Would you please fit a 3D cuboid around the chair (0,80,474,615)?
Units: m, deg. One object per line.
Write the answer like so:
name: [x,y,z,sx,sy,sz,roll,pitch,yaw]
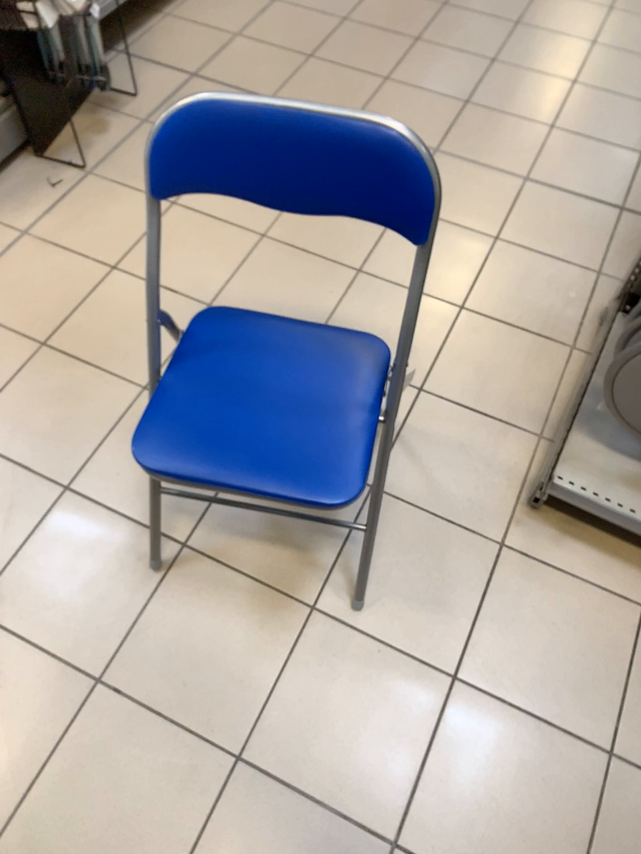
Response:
chair: [-0.072,-0.083,1.109,0.478,0.664,0.526,10,58,4]
